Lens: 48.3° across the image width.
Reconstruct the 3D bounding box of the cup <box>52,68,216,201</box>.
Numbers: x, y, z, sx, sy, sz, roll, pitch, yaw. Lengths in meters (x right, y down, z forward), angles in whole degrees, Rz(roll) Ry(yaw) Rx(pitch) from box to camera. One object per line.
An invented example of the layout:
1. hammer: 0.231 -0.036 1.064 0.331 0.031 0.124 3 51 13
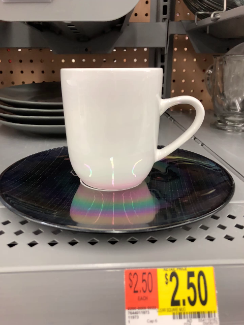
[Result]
1. cup: 0.007 -0.031 0.239 0.113 0.098 0.078 -1 19 -4
